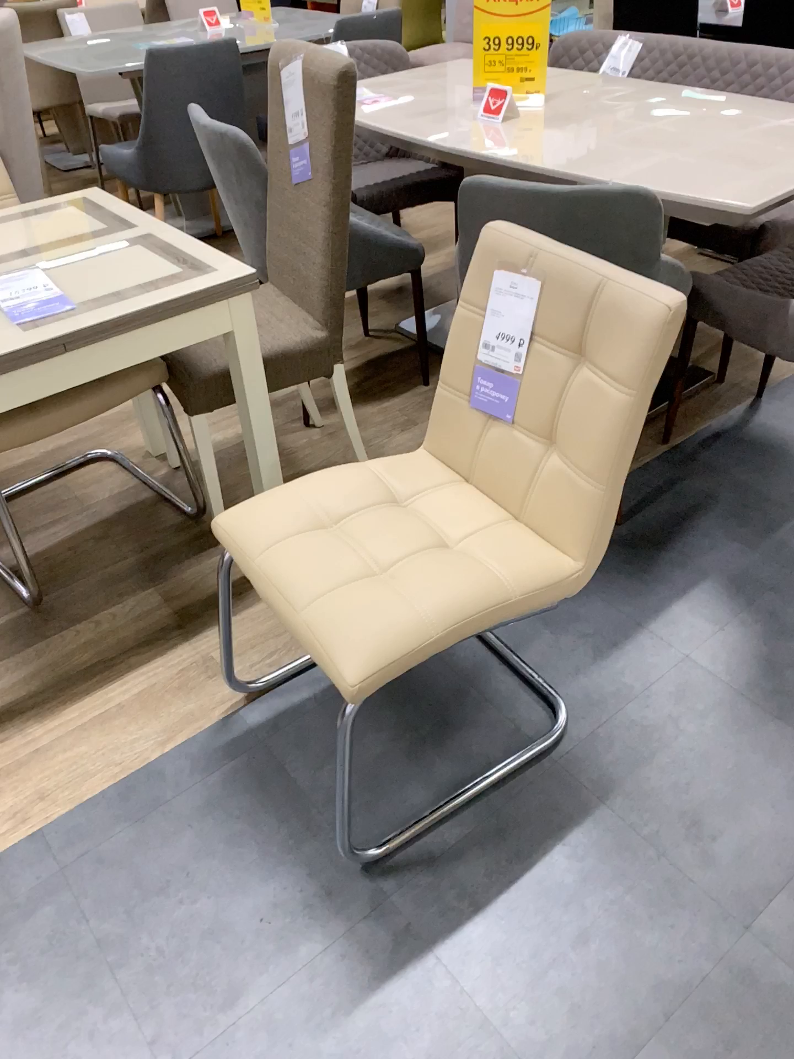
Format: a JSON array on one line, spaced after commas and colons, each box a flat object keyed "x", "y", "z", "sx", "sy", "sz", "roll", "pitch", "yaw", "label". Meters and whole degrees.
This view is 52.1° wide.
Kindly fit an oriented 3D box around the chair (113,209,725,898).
[{"x": 0.031, "y": 0.012, "z": 1.360, "sx": 0.651, "sy": 0.815, "sz": 0.532, "roll": -24, "pitch": 42, "yaw": -25, "label": "chair"}]
